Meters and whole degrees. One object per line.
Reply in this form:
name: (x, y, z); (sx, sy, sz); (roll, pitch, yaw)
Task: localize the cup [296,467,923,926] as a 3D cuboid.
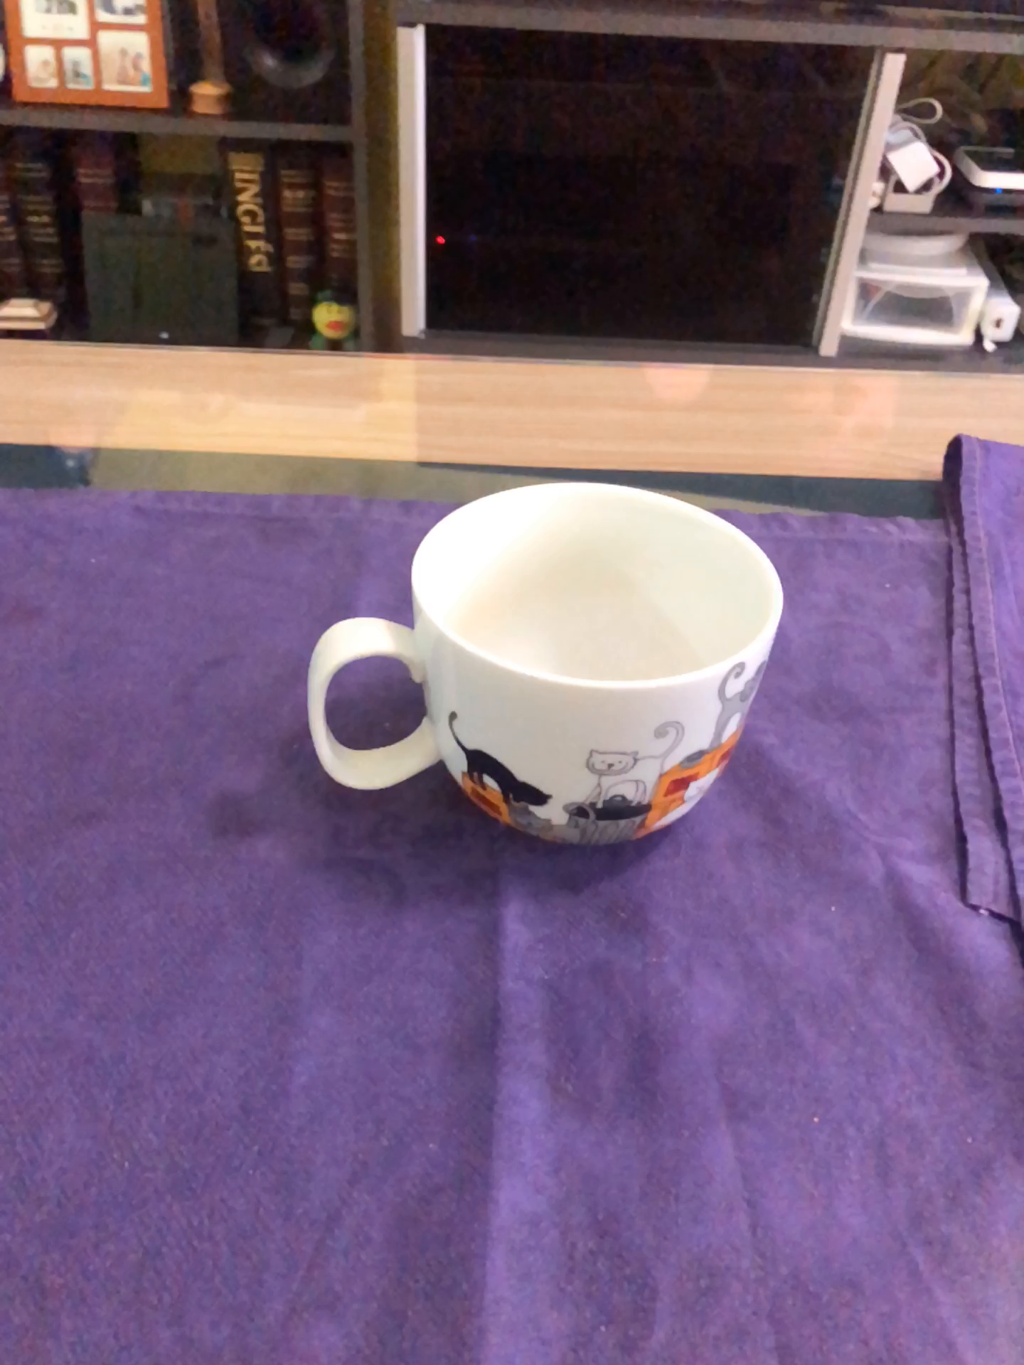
cup: (0.017, -0.001, 0.310); (0.140, 0.070, 0.090); (-6, 40, -10)
